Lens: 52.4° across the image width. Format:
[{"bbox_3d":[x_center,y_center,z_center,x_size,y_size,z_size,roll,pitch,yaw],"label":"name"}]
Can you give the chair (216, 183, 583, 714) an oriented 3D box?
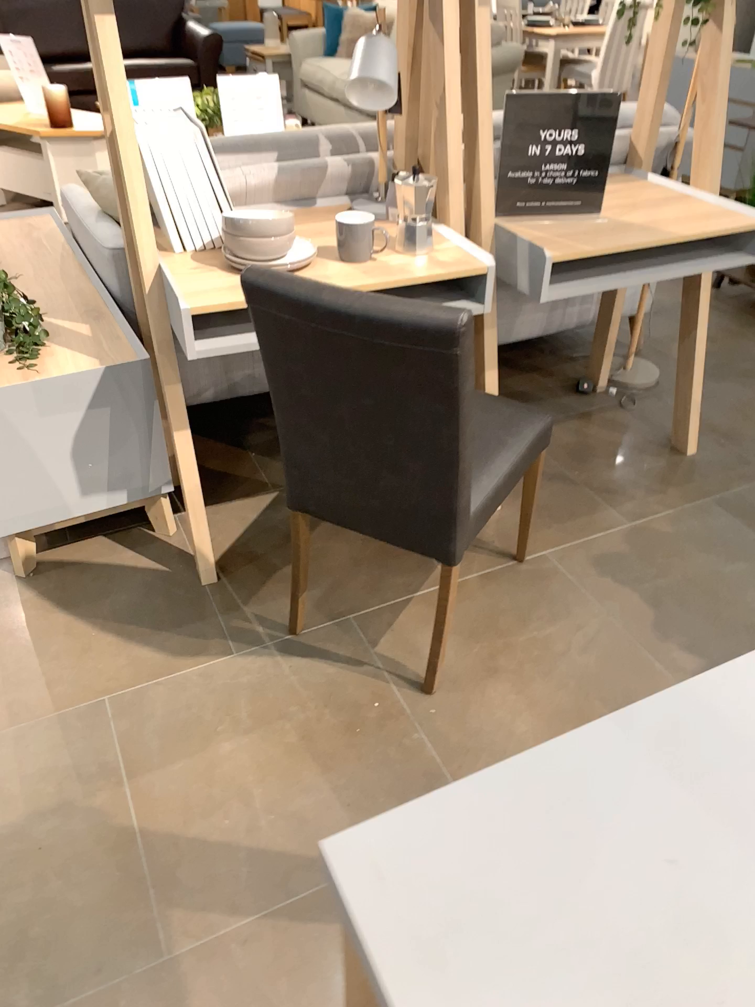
[{"bbox_3d":[0.066,-0.137,1.676,0.457,0.886,0.609,18,39,22],"label":"chair"}]
